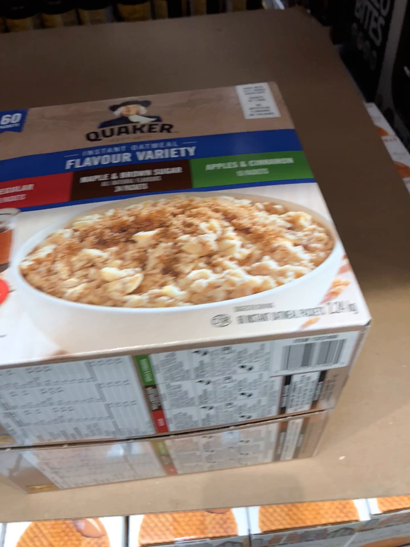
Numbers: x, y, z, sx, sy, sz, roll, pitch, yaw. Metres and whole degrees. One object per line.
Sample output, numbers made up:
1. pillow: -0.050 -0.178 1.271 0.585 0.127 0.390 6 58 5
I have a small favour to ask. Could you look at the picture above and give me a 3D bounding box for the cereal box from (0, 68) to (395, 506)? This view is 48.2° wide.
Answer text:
1. cereal box: -0.041 0.004 0.369 0.240 0.200 0.261 -6 49 -2
